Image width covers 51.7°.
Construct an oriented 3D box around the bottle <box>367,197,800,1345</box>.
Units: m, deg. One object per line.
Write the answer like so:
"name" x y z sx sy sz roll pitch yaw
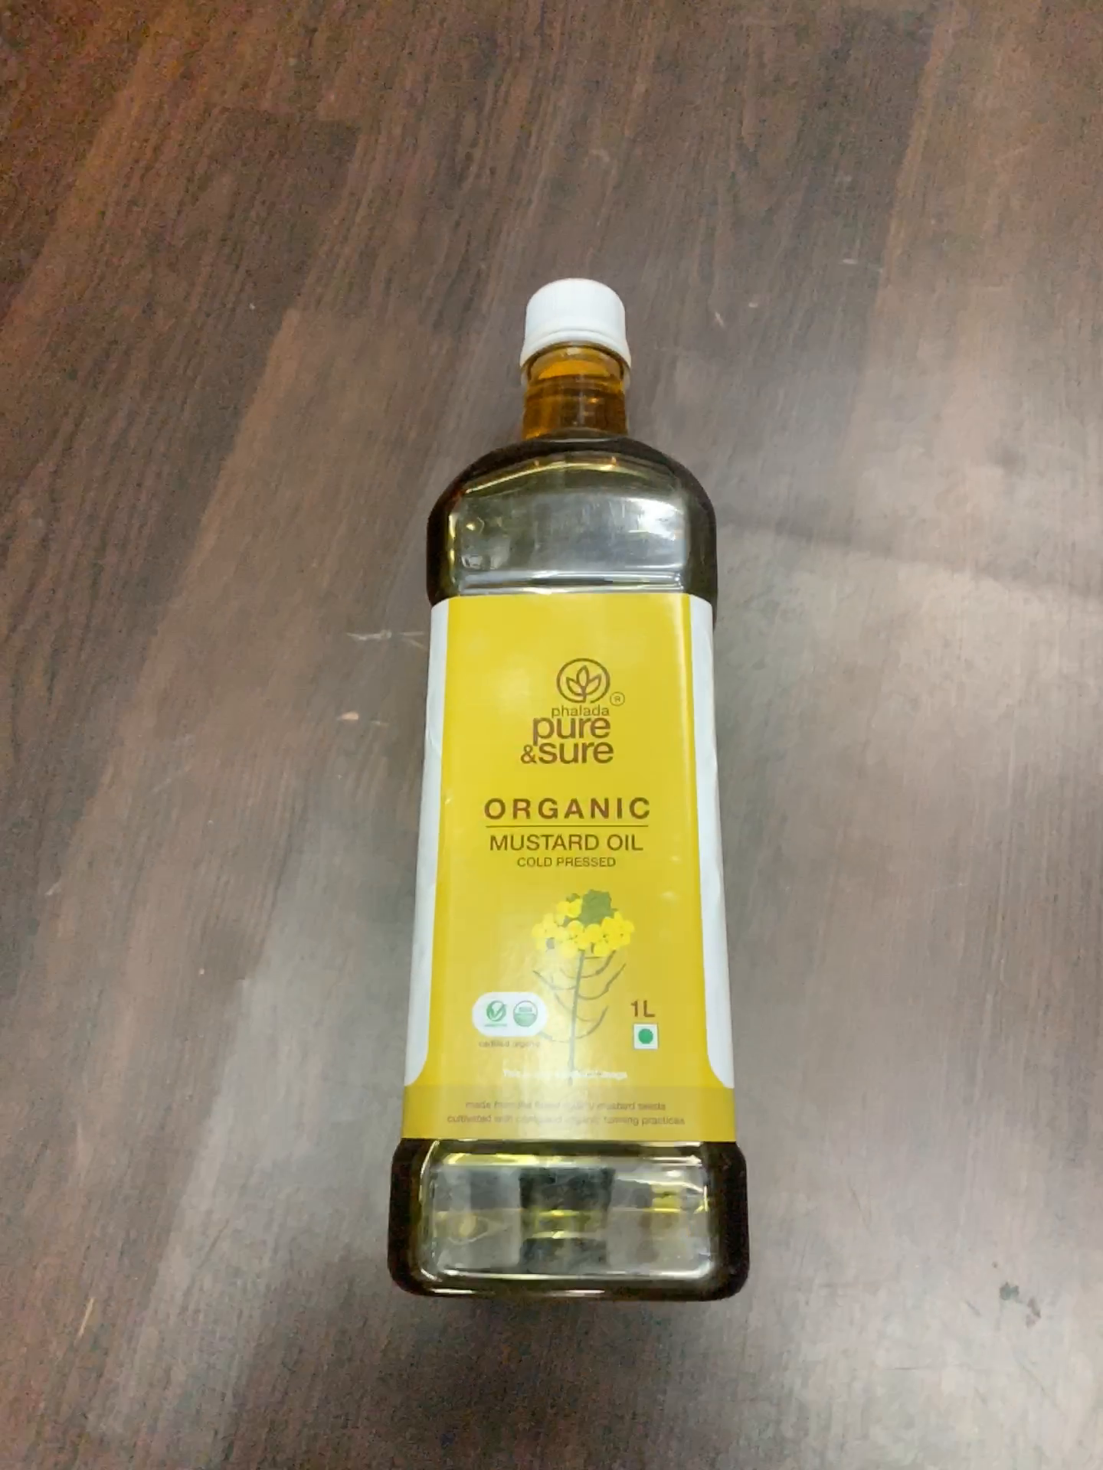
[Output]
"bottle" 0.011 -0.002 0.294 0.080 0.080 0.270 0 70 3
